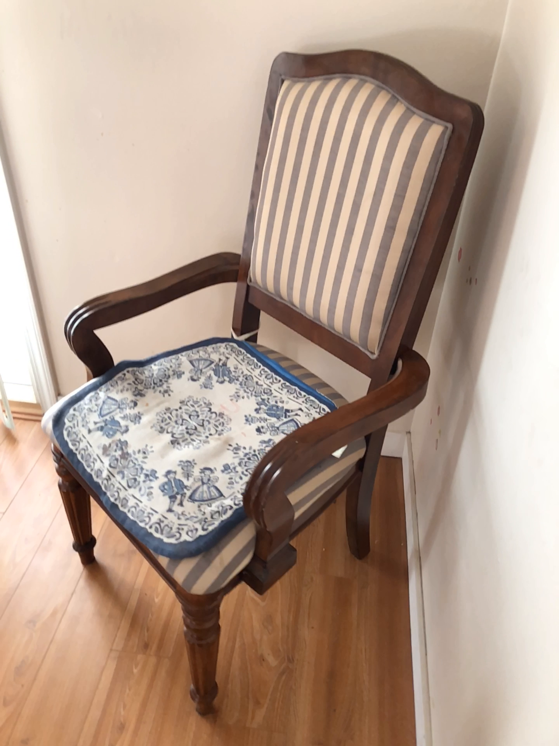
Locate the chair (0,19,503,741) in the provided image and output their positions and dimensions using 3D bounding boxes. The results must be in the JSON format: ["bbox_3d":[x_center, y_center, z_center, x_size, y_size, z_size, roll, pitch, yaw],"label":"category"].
[{"bbox_3d":[-0.111,0.010,1.106,0.532,1.043,0.582,32,46,33],"label":"chair"}]
